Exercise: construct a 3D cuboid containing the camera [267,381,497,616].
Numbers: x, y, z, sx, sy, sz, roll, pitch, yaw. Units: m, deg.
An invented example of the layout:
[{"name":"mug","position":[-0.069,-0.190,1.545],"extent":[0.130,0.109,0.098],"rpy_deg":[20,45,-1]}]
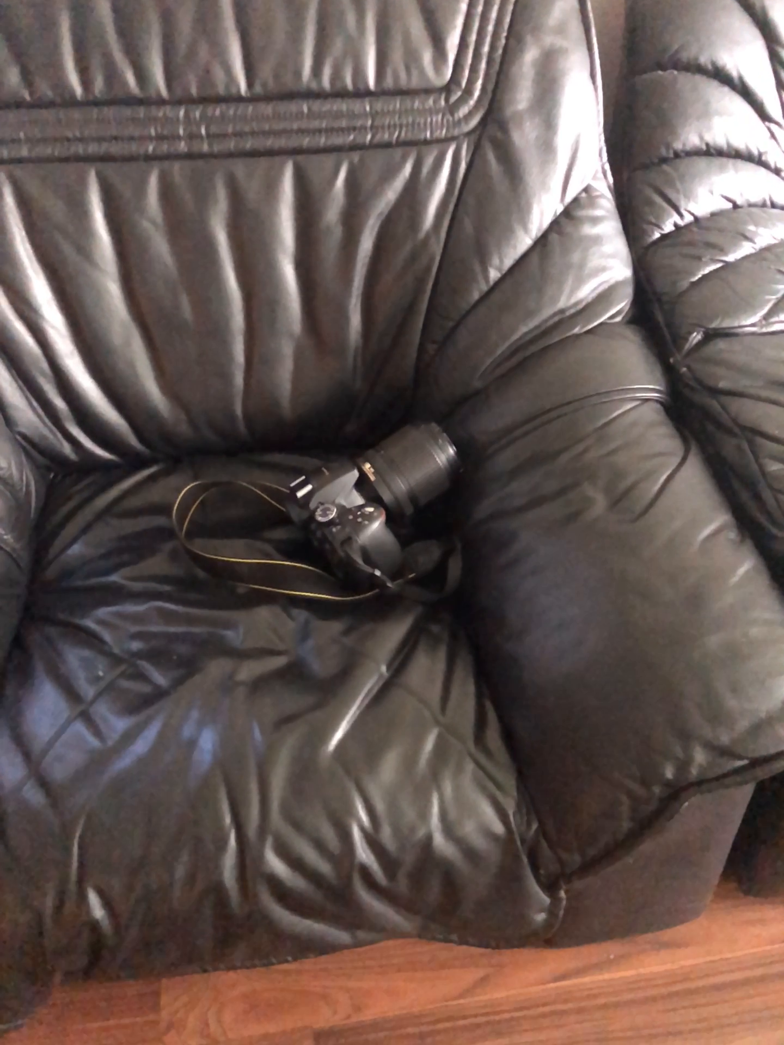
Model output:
[{"name":"camera","position":[-0.009,-0.027,0.925],"extent":[0.170,0.130,0.140],"rpy_deg":[-34,48,-8]}]
